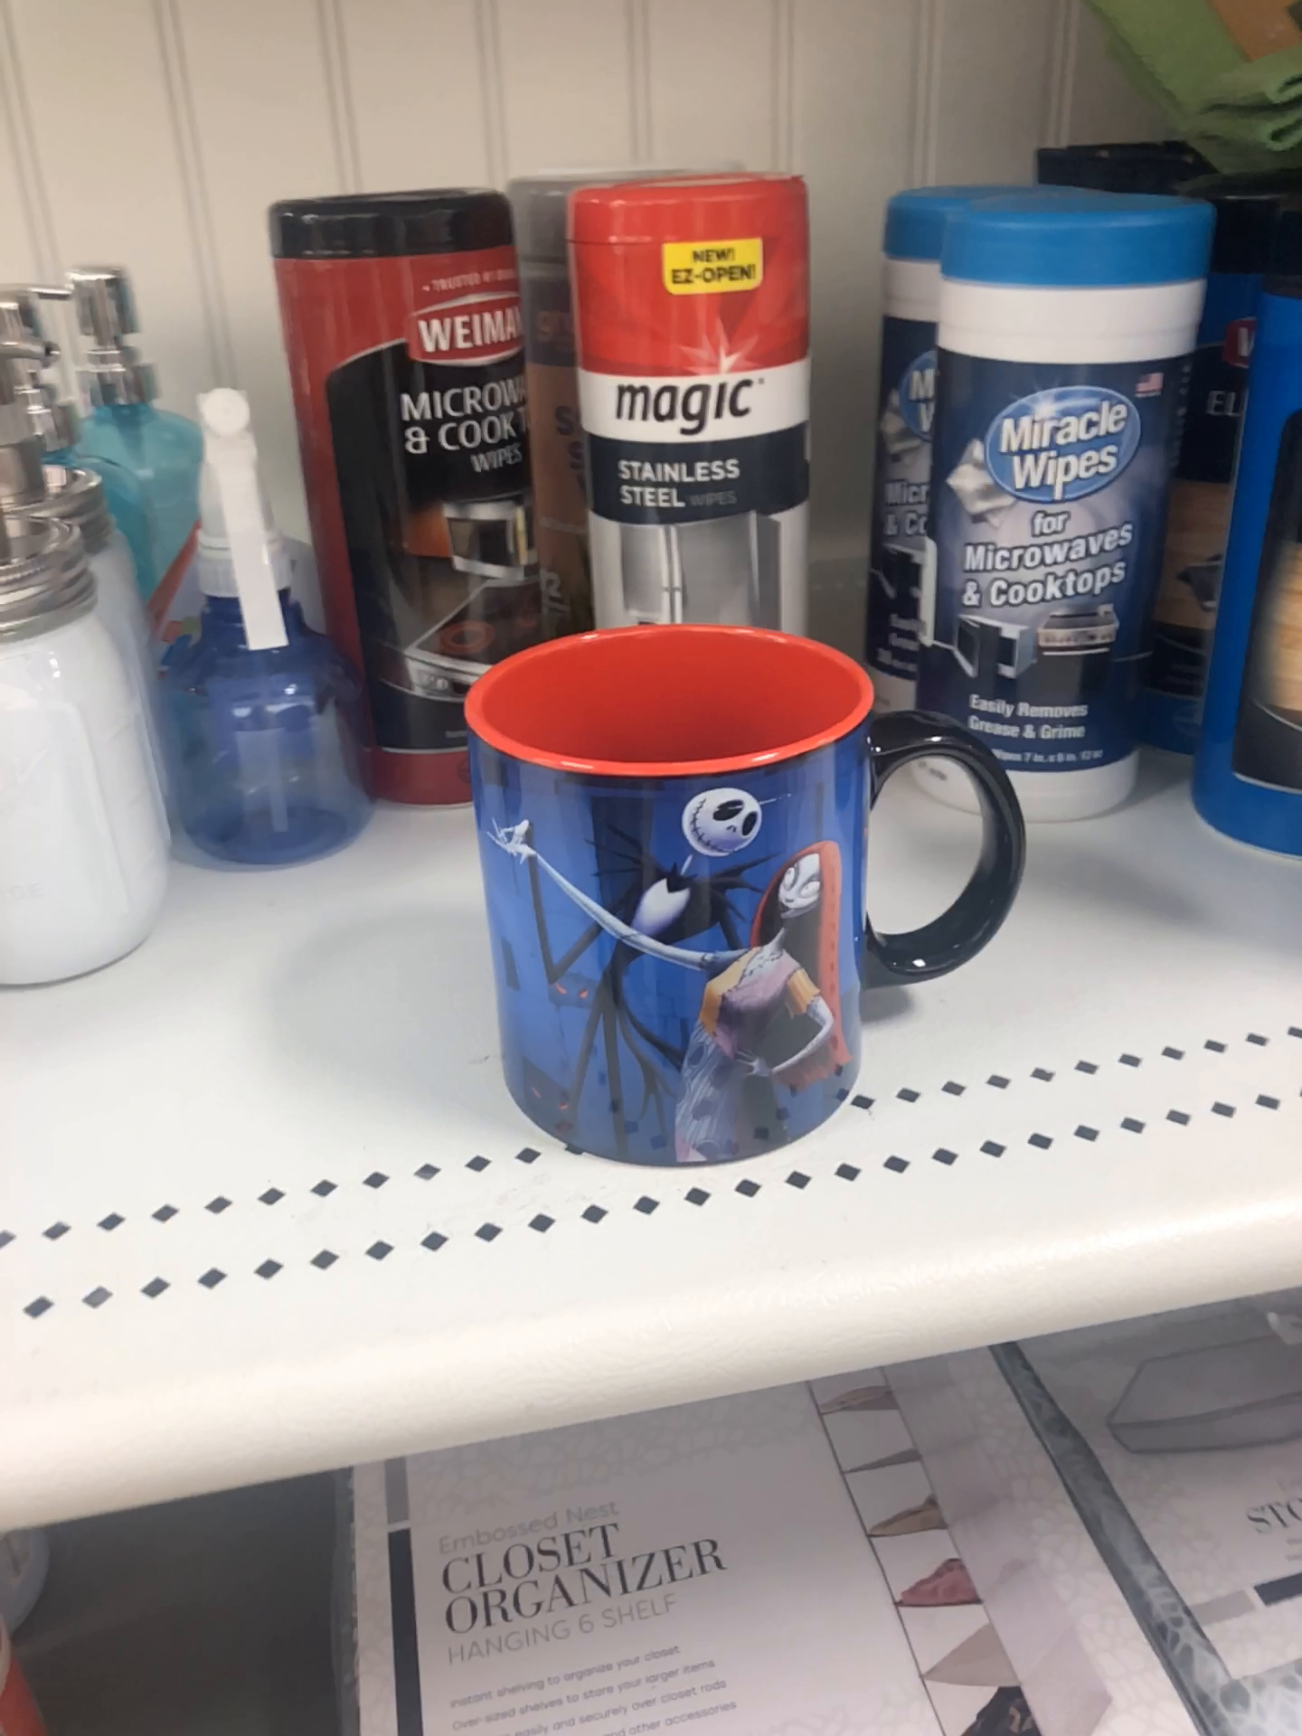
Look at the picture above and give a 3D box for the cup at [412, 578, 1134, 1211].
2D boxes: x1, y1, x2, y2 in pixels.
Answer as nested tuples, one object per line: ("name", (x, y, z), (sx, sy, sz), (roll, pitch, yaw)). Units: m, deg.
("cup", (0.024, -0.002, 0.379), (0.147, 0.103, 0.113), (-10, 28, -14))
